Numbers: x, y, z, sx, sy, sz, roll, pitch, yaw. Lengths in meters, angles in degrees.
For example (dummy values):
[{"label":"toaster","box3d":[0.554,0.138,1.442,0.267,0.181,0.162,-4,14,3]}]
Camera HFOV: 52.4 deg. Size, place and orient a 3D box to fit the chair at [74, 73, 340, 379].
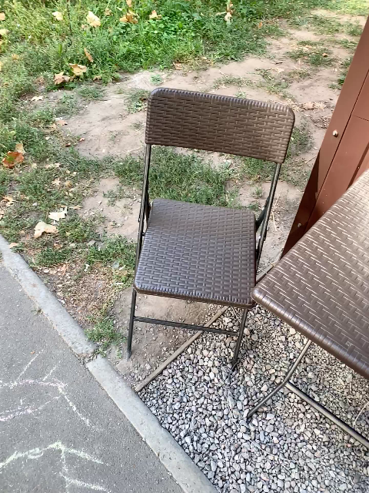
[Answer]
[{"label":"chair","box3d":[0.055,-0.026,1.071,0.470,0.687,0.472,7,48,4]}]
